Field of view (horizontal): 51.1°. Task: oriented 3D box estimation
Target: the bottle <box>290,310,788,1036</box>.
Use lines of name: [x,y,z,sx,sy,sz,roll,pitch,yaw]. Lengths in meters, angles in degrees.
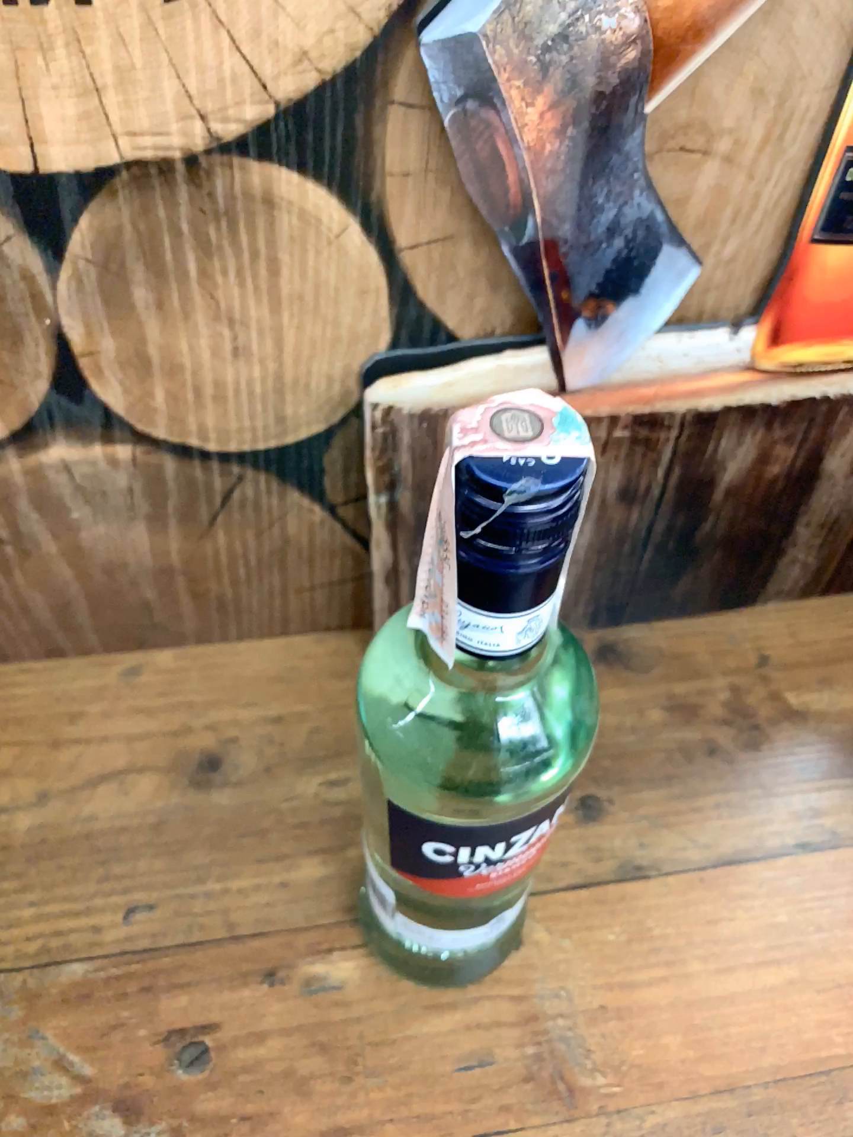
bottle: [0.012,0.052,0.257,0.070,0.231,0.070,2,48,-3]
